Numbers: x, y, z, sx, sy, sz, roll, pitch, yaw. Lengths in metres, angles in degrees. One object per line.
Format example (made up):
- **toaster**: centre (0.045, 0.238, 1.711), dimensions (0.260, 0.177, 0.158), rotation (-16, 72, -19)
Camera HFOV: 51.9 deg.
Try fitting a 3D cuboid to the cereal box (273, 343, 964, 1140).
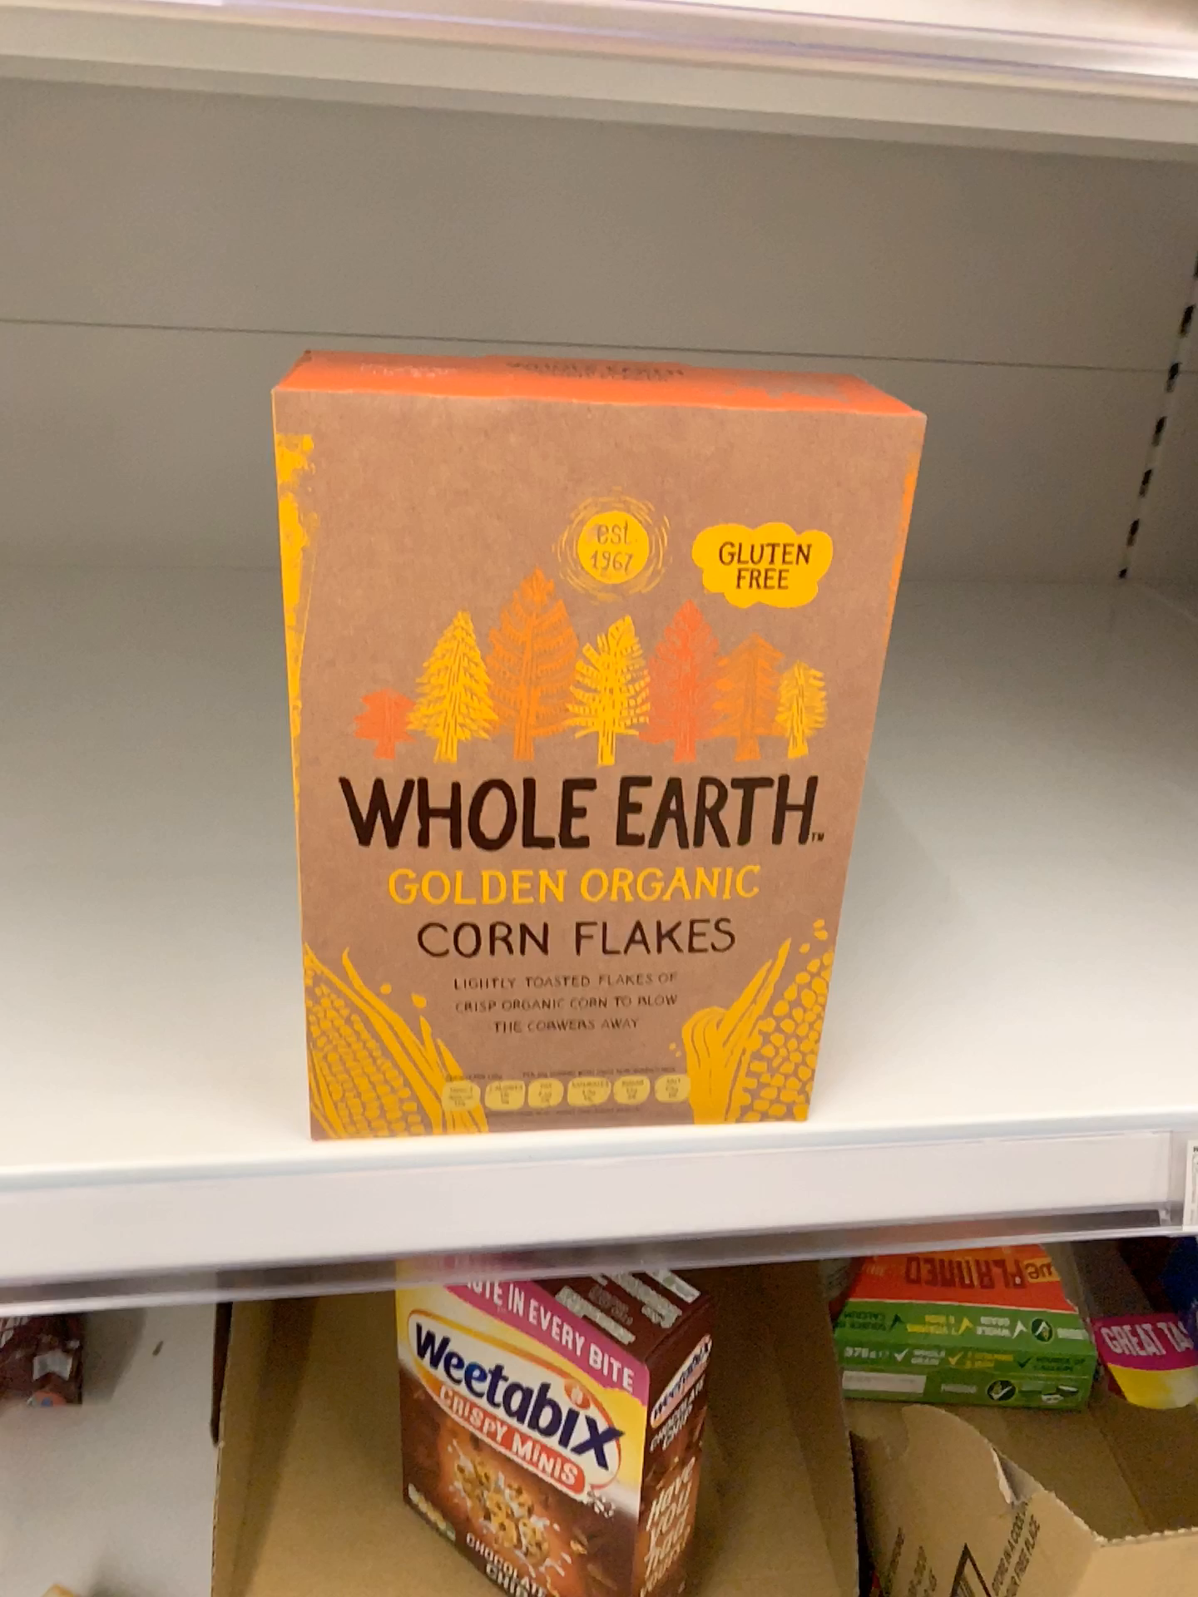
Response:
- **cereal box**: centre (-0.004, -0.015, 0.450), dimensions (0.200, 0.268, 0.091), rotation (0, 26, -8)
